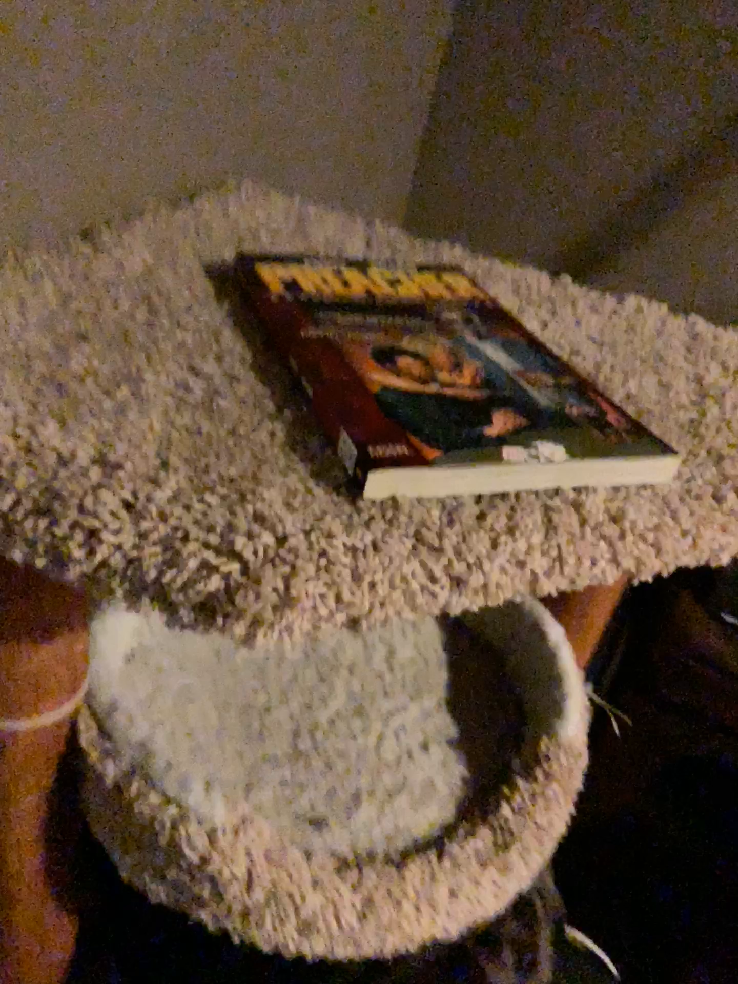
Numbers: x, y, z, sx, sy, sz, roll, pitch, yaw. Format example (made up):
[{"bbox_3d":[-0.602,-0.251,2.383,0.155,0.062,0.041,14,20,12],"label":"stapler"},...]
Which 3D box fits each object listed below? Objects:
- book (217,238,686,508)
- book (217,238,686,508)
[{"bbox_3d":[0.028,-0.083,0.478,0.170,0.020,0.270,-3,36,-24],"label":"book"},{"bbox_3d":[0.028,-0.083,0.478,0.170,0.020,0.270,-3,36,-24],"label":"book"}]
